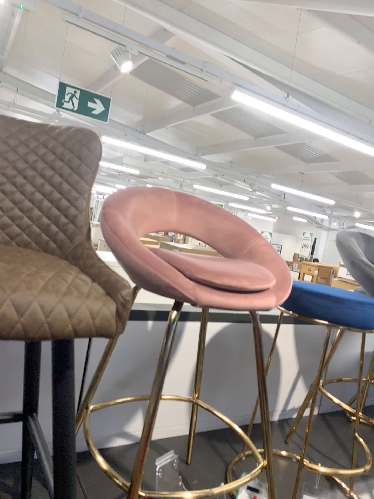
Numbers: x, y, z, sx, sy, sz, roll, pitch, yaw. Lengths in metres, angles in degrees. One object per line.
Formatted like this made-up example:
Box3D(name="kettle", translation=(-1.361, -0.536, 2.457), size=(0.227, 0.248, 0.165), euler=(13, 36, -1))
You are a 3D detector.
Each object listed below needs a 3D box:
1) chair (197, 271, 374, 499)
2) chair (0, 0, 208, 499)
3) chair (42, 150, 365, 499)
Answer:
Box3D(name="chair", translation=(0.387, 0.432, 1.145), size=(0.462, 0.620, 0.431), euler=(9, 3, -27))
Box3D(name="chair", translation=(-0.378, 0.171, 0.682), size=(0.502, 0.960, 0.451), euler=(8, 3, -34))
Box3D(name="chair", translation=(-0.004, 0.266, 0.933), size=(0.492, 0.860, 0.461), euler=(9, 3, -27))
